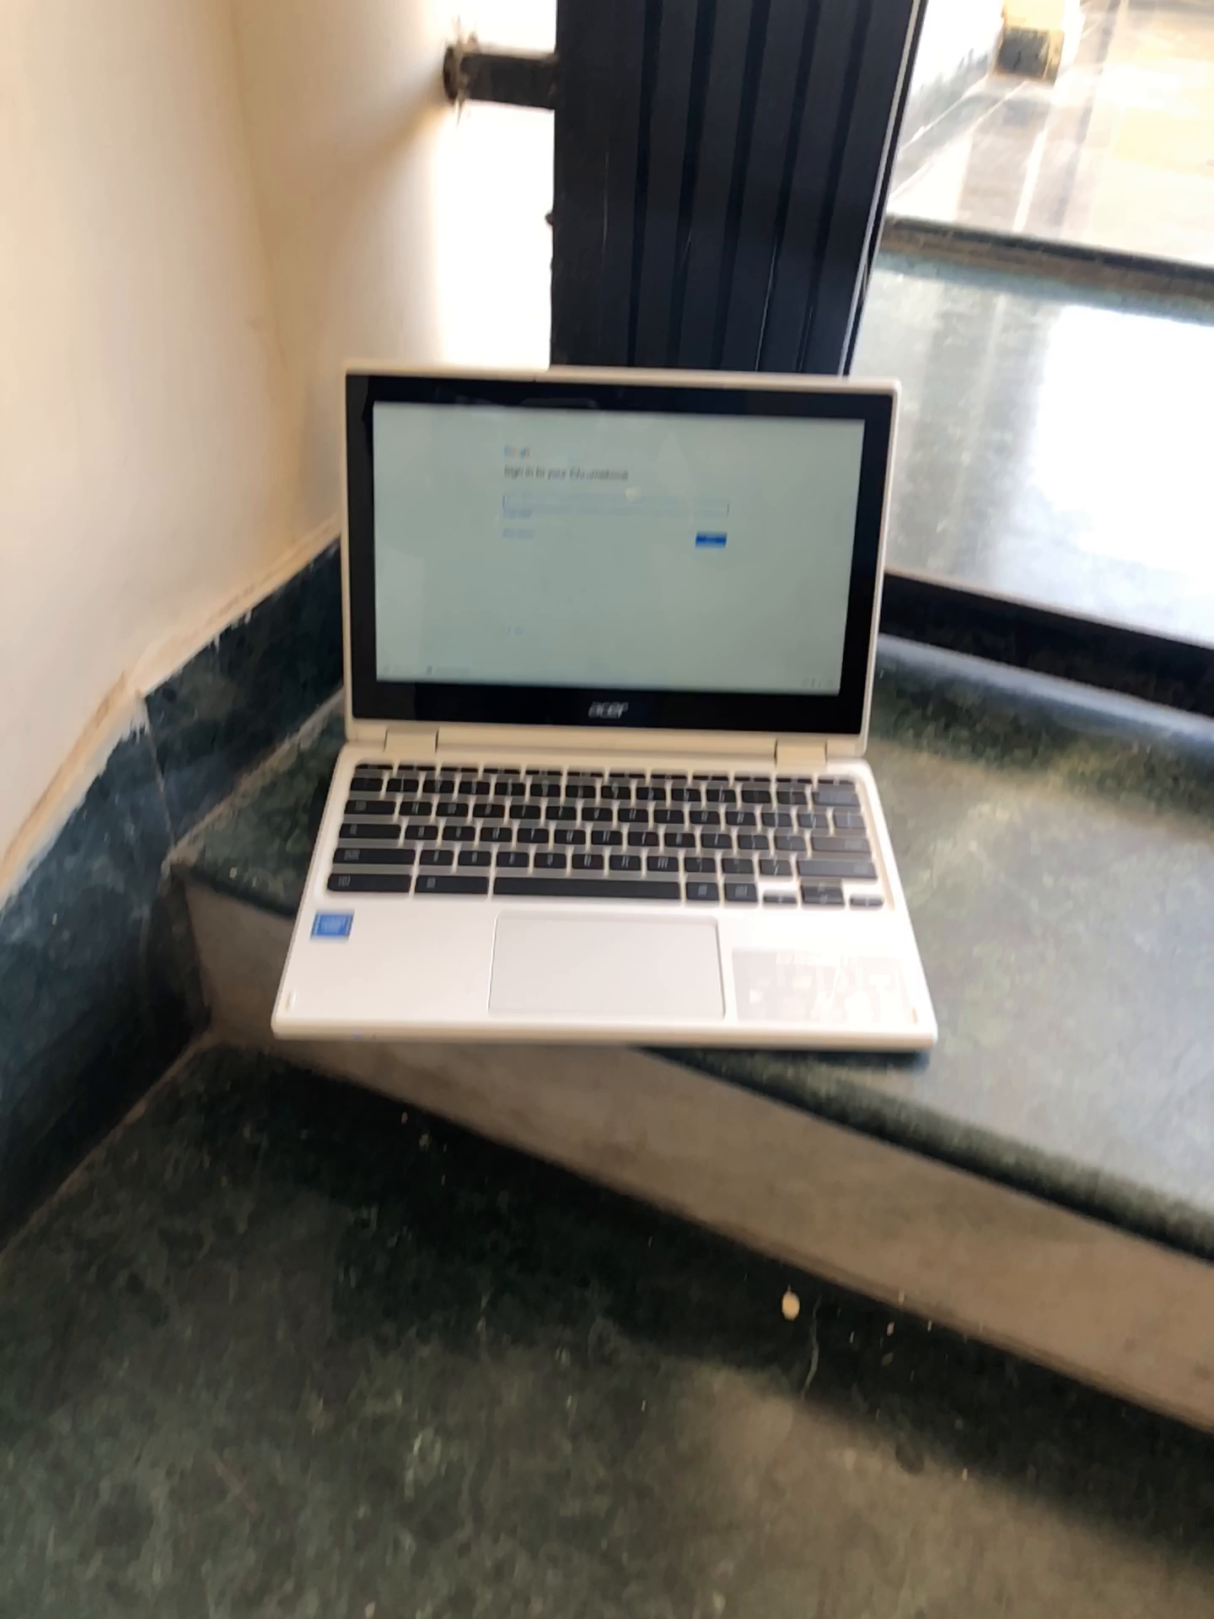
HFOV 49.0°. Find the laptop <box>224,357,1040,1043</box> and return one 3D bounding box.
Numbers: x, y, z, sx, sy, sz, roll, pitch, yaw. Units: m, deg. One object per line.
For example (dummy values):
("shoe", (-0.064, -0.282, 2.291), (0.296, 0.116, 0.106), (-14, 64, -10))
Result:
("laptop", (0.006, -0.062, 0.612), (0.278, 0.178, 0.273), (2, 38, -2))
